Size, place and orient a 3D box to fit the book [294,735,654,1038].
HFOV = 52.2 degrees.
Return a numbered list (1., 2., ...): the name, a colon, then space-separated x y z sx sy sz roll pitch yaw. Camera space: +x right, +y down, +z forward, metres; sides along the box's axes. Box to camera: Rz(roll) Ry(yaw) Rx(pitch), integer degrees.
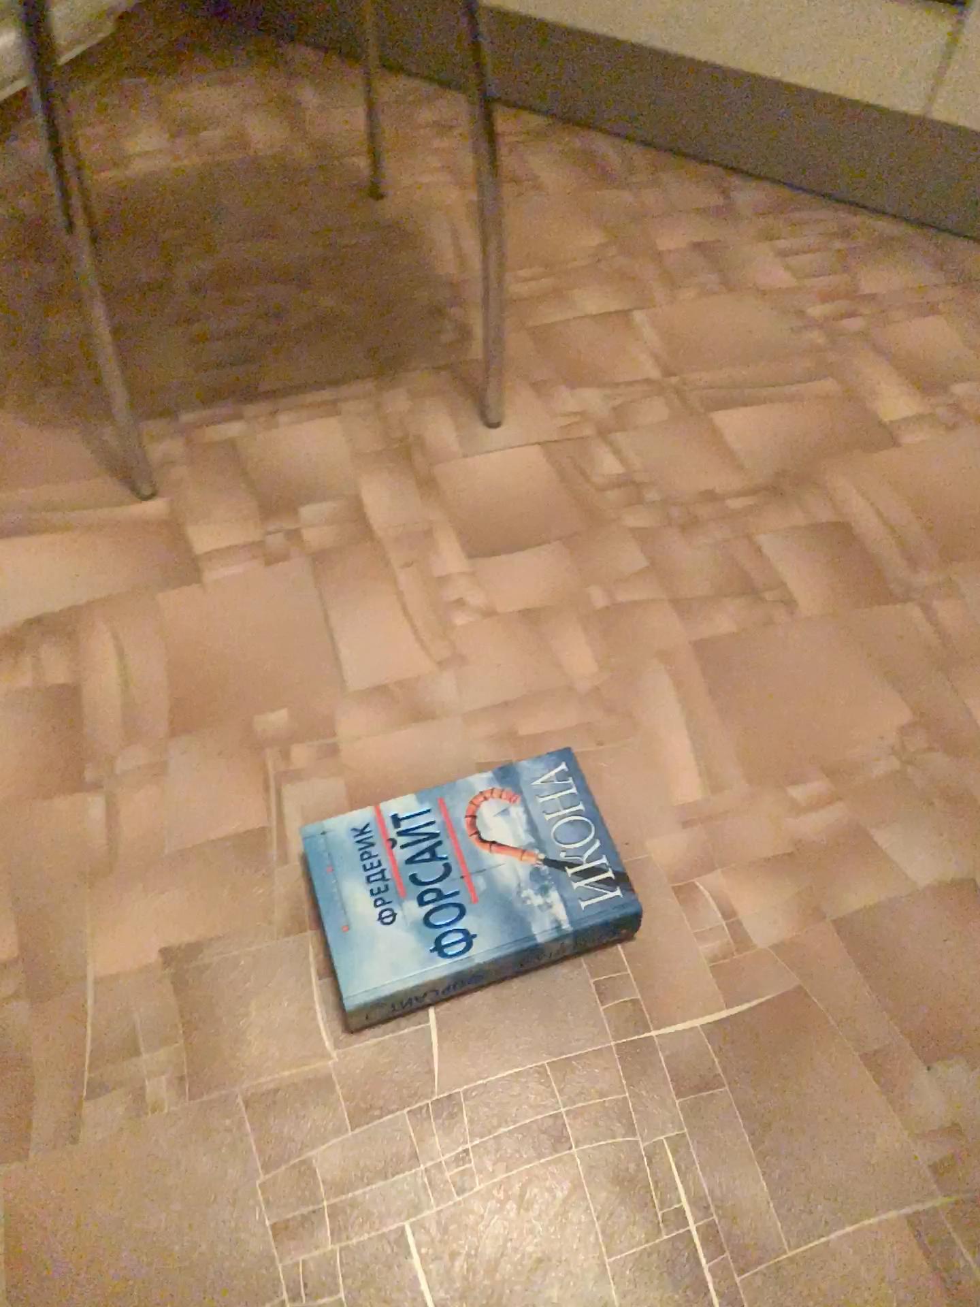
1. book: -0.016 0.167 0.745 0.223 0.056 0.153 -14 57 -13
